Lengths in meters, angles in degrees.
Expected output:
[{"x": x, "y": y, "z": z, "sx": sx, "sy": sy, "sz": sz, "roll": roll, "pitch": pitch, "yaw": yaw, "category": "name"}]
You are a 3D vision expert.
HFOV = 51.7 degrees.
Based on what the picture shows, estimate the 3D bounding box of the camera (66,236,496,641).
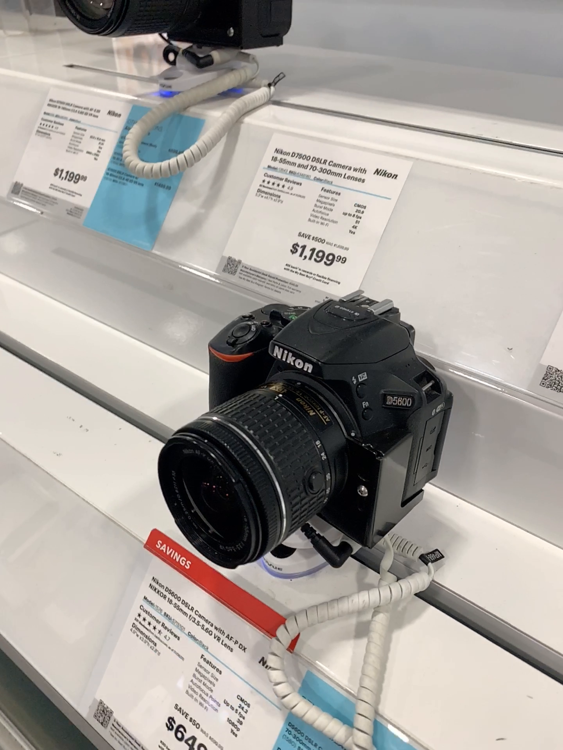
[{"x": 0.000, "y": 0.012, "z": 0.263, "sx": 0.130, "sy": 0.090, "sz": 0.120, "roll": 27, "pitch": 40, "yaw": 31, "category": "camera"}]
